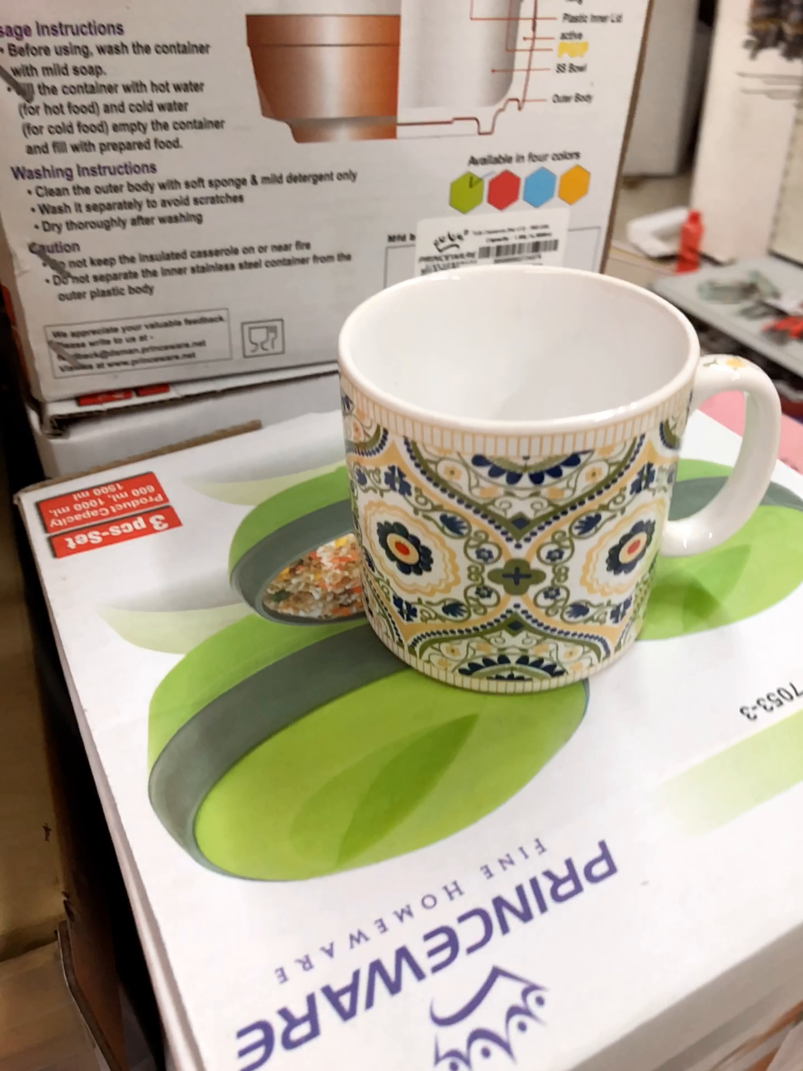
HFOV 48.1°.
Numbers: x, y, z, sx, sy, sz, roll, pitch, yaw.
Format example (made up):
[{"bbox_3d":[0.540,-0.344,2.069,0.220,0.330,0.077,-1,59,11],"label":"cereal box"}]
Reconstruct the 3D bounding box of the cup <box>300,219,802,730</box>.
[{"bbox_3d":[0.039,-0.018,0.211,0.110,0.079,0.070,-9,36,-8],"label":"cup"}]
